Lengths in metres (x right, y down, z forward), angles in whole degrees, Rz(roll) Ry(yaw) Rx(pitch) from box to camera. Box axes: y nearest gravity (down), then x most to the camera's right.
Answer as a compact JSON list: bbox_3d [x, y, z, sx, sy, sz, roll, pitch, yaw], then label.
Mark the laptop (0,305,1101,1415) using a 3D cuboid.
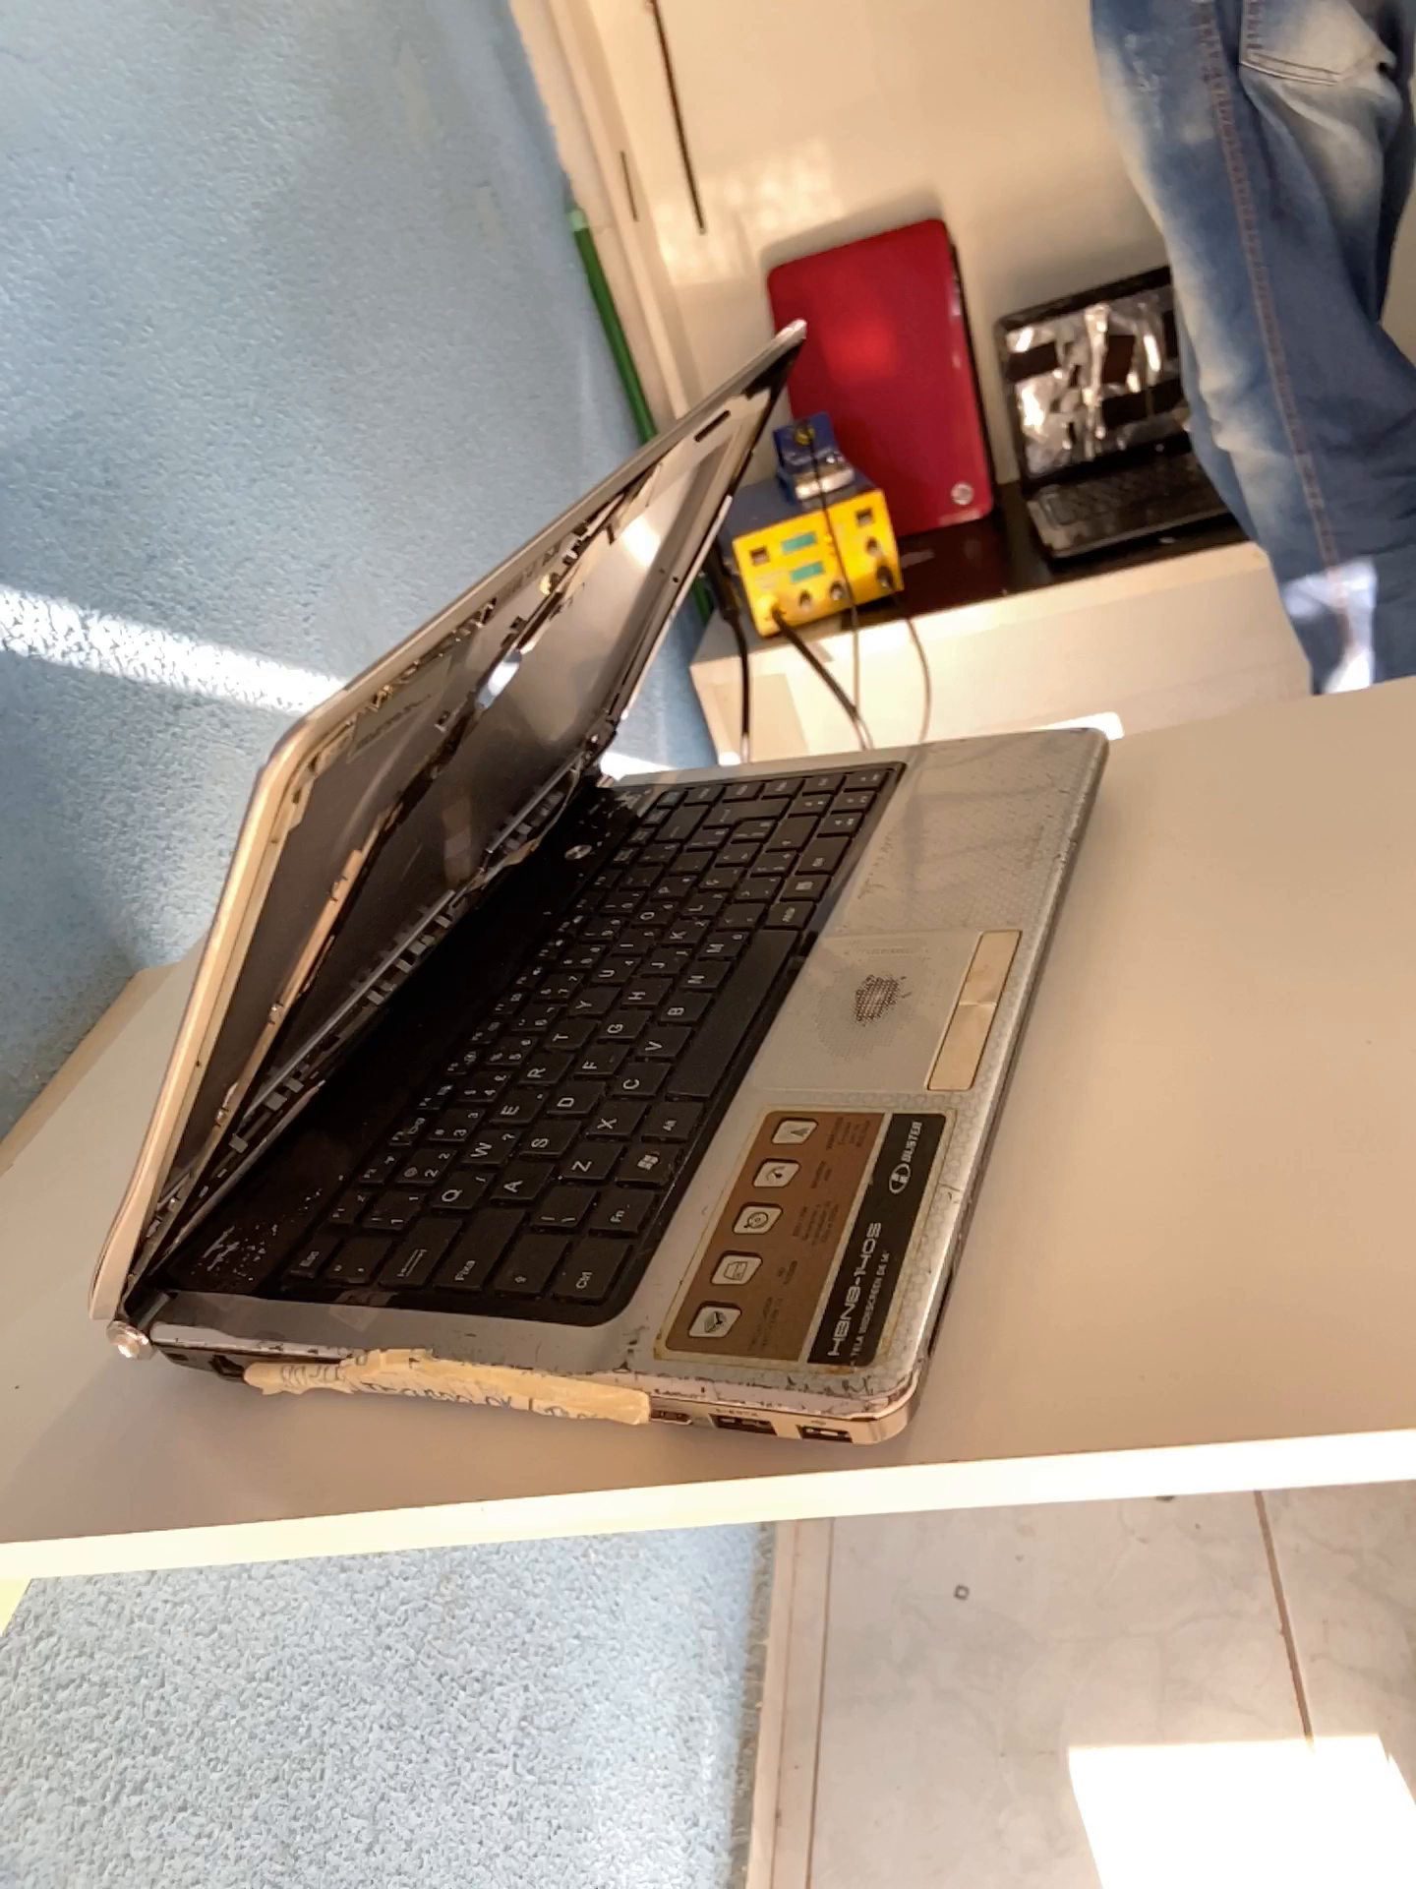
[{"bbox_3d":[-0.034,-0.052,0.449,0.232,0.160,0.327,-3,32,26],"label":"laptop"}]
